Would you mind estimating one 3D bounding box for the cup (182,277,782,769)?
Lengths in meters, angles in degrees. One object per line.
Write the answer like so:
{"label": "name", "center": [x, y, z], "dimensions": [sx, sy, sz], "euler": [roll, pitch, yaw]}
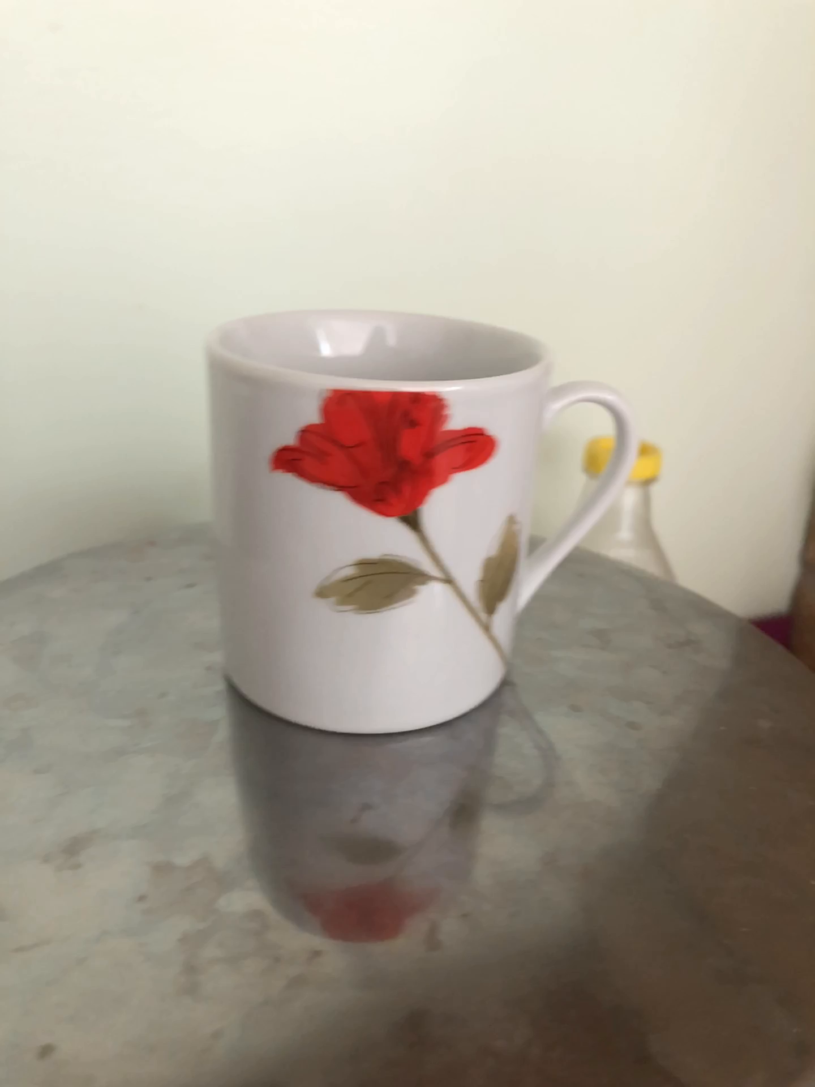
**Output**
{"label": "cup", "center": [0.005, -0.009, 0.160], "dimensions": [0.080, 0.060, 0.060], "euler": [-3, 25, -18]}
